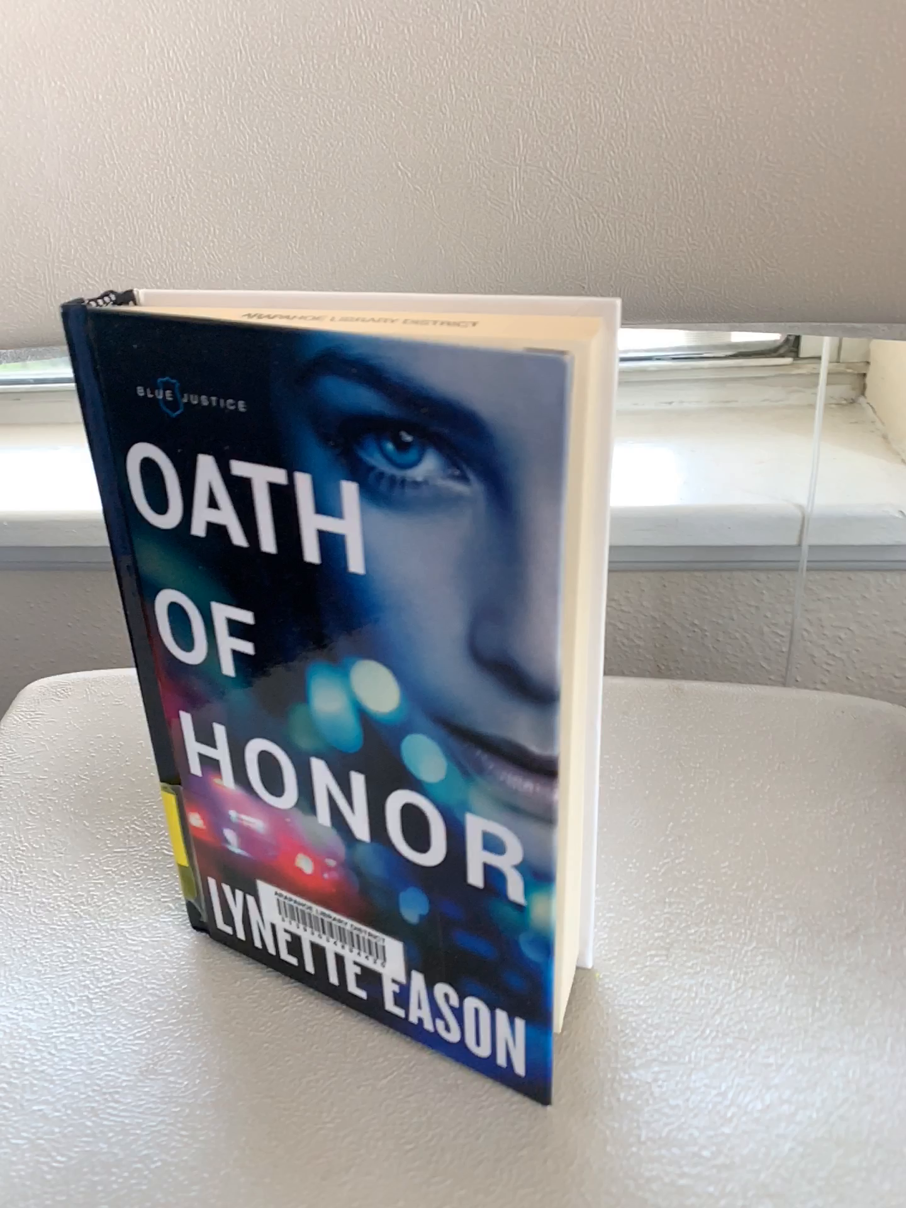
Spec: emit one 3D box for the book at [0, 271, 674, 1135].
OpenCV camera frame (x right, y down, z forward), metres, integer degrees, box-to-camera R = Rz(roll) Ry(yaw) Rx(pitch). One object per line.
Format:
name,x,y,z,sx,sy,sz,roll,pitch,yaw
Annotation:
book,-0.028,0.024,0.266,0.154,0.217,0.063,9,27,23
